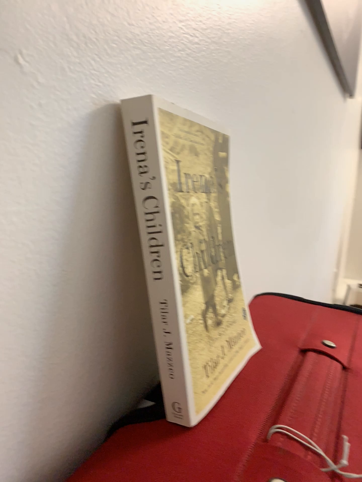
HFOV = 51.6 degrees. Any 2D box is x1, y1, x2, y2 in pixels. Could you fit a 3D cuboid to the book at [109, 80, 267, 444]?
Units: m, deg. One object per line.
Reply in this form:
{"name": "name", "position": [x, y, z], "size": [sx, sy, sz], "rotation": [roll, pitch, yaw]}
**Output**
{"name": "book", "position": [0.022, 0.006, 0.313], "size": [0.030, 0.230, 0.171], "rotation": [-4, 6, 30]}
